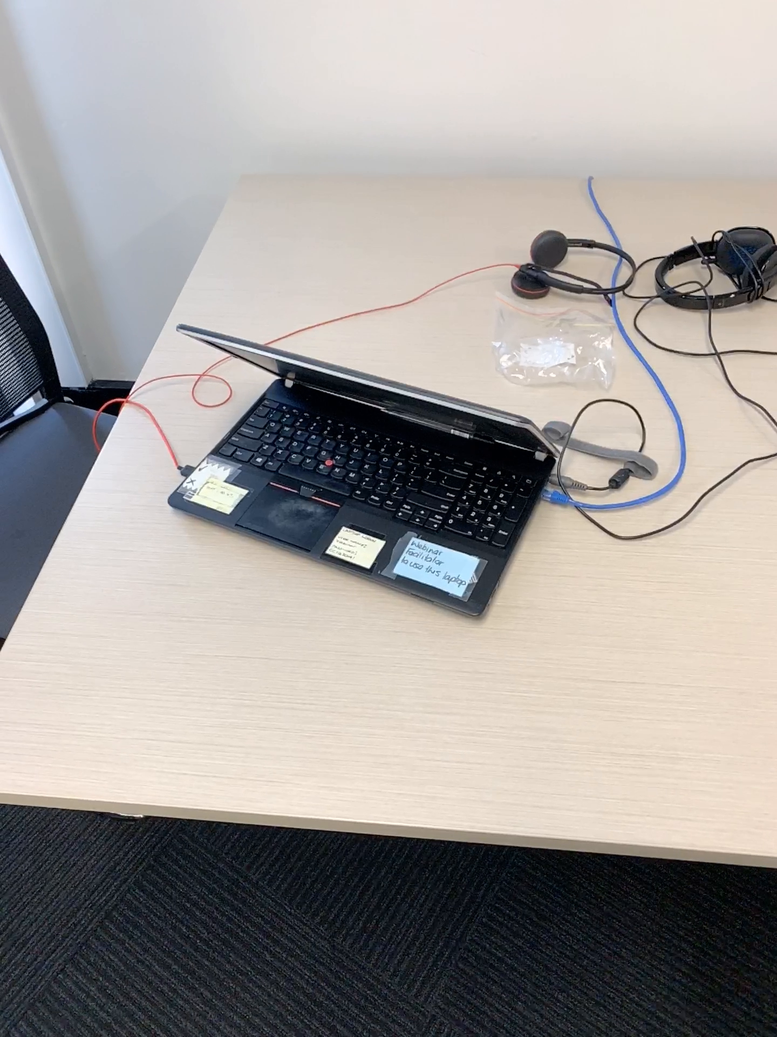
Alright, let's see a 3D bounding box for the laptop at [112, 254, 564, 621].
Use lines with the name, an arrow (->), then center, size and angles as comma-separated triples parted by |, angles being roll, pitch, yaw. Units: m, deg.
laptop -> -0.033, -0.092, 0.724 | 0.326, 0.157, 0.227 | 18, 47, 20
